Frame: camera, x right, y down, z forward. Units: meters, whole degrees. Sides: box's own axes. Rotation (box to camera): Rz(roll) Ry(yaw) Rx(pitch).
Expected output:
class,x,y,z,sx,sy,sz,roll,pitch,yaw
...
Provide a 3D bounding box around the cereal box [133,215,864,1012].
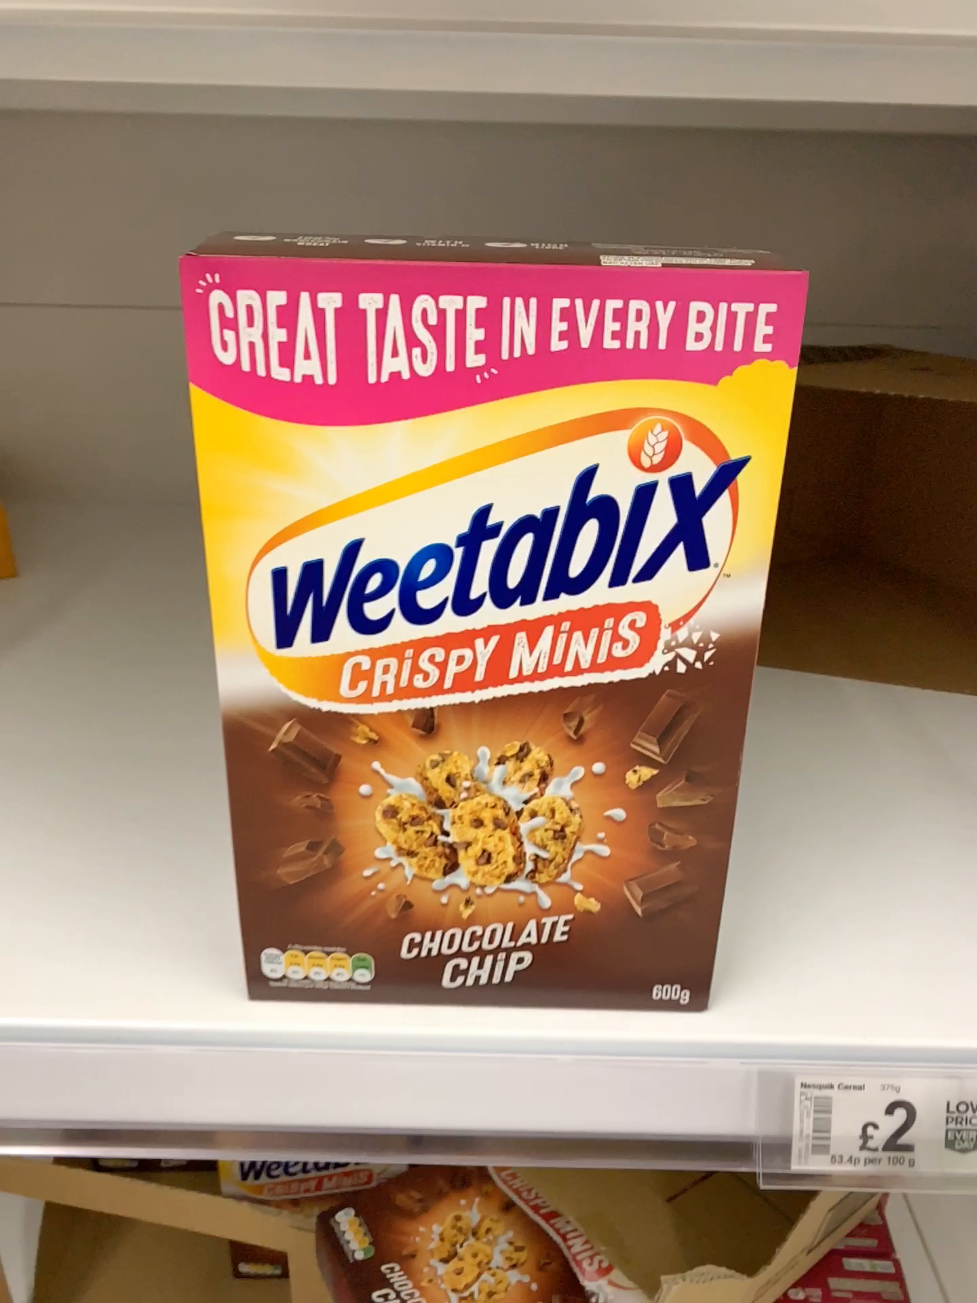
class,x,y,z,sx,sy,sz,roll,pitch,yaw
cereal box,0.000,-0.004,0.379,0.210,0.288,0.071,1,24,0
